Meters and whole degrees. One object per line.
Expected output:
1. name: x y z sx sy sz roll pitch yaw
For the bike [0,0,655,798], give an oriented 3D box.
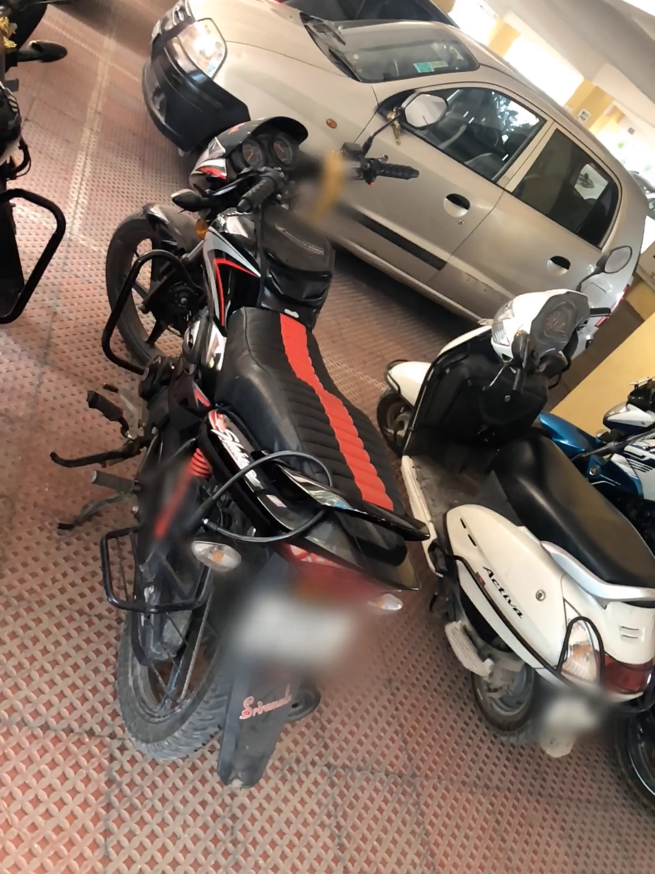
1. bike: -0.293 -0.209 1.670 0.747 1.011 1.558 17 37 -37
